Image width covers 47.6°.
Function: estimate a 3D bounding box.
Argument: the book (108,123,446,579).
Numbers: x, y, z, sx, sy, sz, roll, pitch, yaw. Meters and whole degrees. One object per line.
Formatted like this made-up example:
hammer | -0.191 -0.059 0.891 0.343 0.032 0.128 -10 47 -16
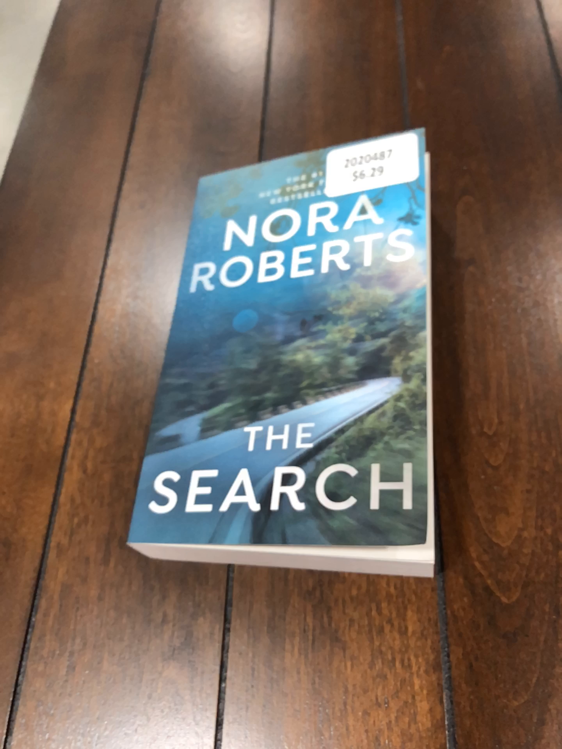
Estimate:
book | 0.008 -0.011 0.260 0.108 0.050 0.170 -4 61 21
